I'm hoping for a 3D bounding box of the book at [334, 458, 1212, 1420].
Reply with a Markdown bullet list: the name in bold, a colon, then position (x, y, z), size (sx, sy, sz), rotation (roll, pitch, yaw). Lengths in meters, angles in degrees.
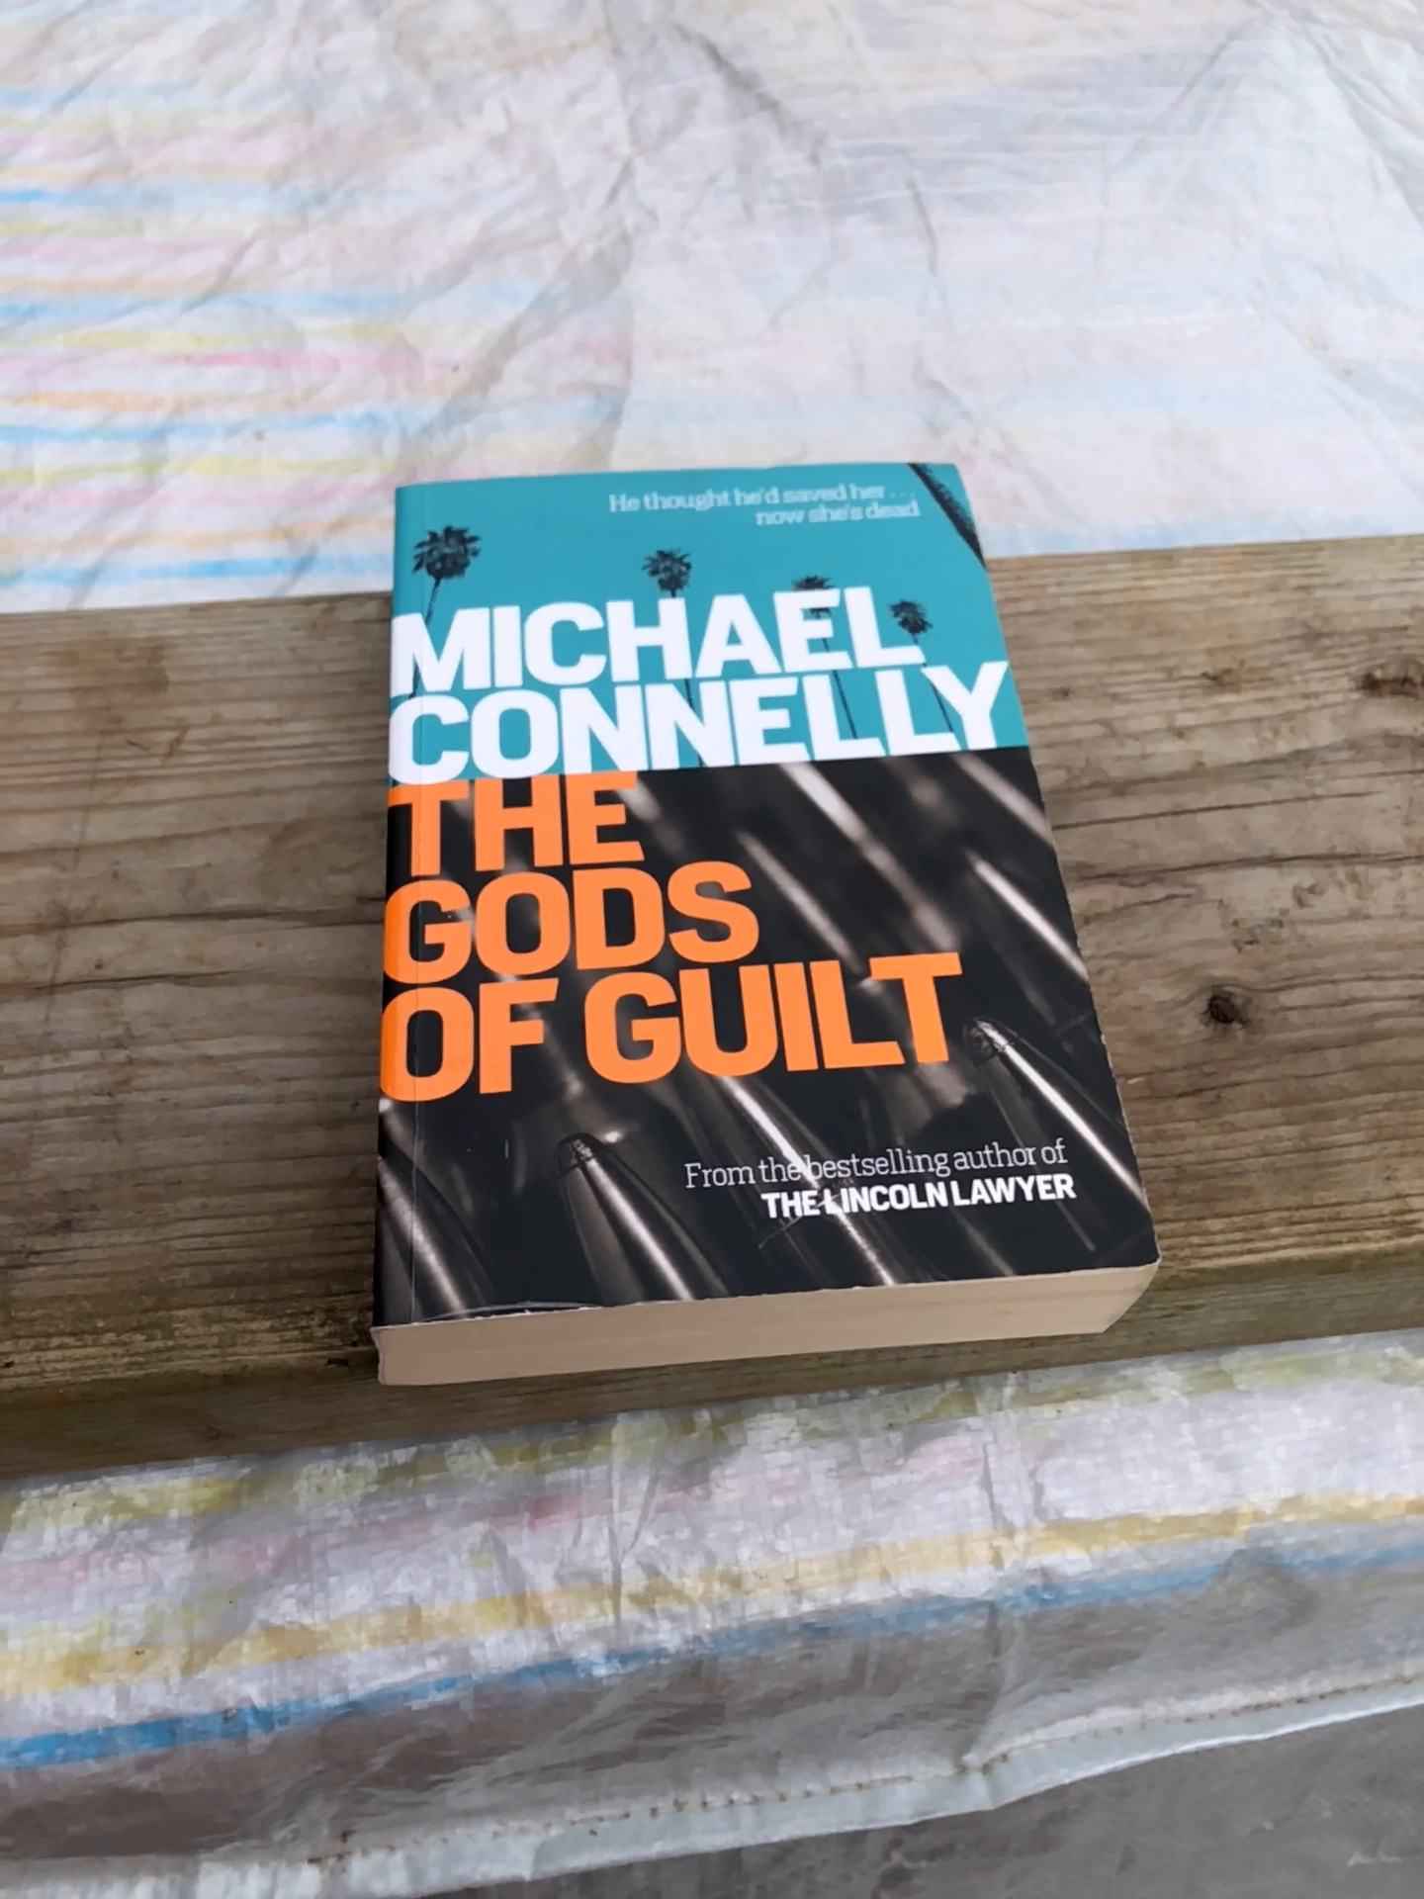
- **book**: position (0.001, -0.016, 0.323), size (0.140, 0.040, 0.201), rotation (-3, 56, -5)
